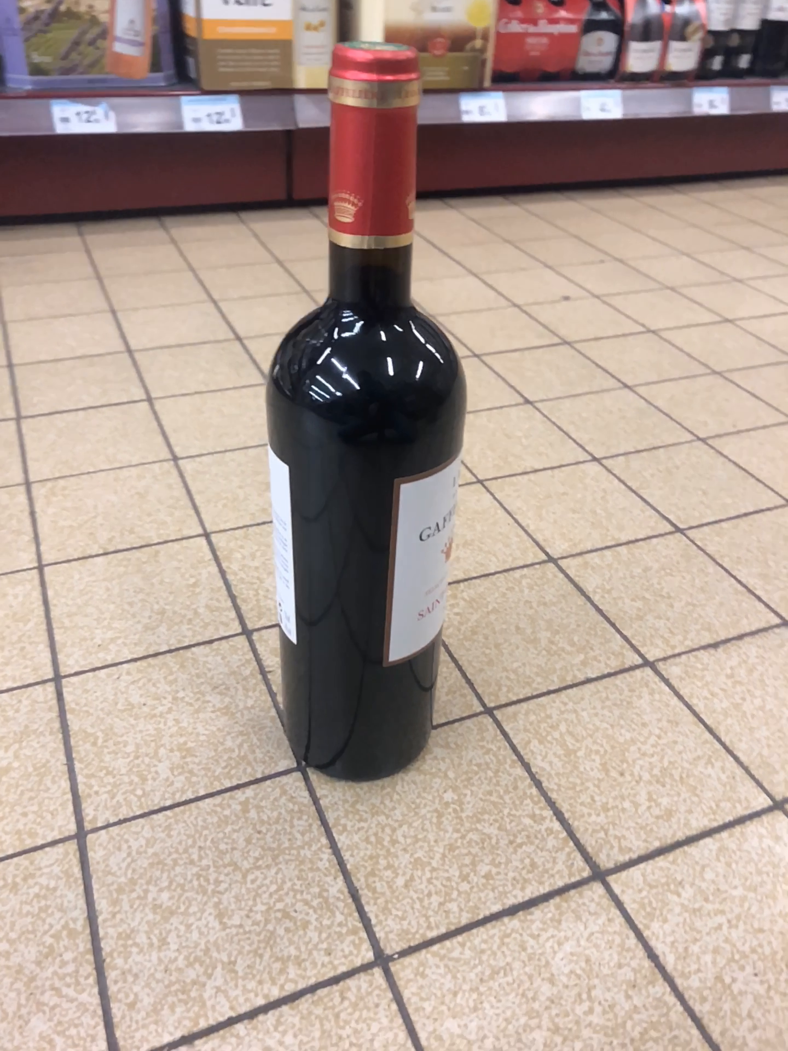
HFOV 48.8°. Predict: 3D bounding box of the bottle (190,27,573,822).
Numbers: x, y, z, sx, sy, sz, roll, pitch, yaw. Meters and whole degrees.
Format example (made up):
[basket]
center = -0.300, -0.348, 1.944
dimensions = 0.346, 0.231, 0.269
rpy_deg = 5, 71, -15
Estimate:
[bottle]
center = -0.006, -0.025, 0.342
dimensions = 0.090, 0.287, 0.091
rpy_deg = 2, 34, -2
